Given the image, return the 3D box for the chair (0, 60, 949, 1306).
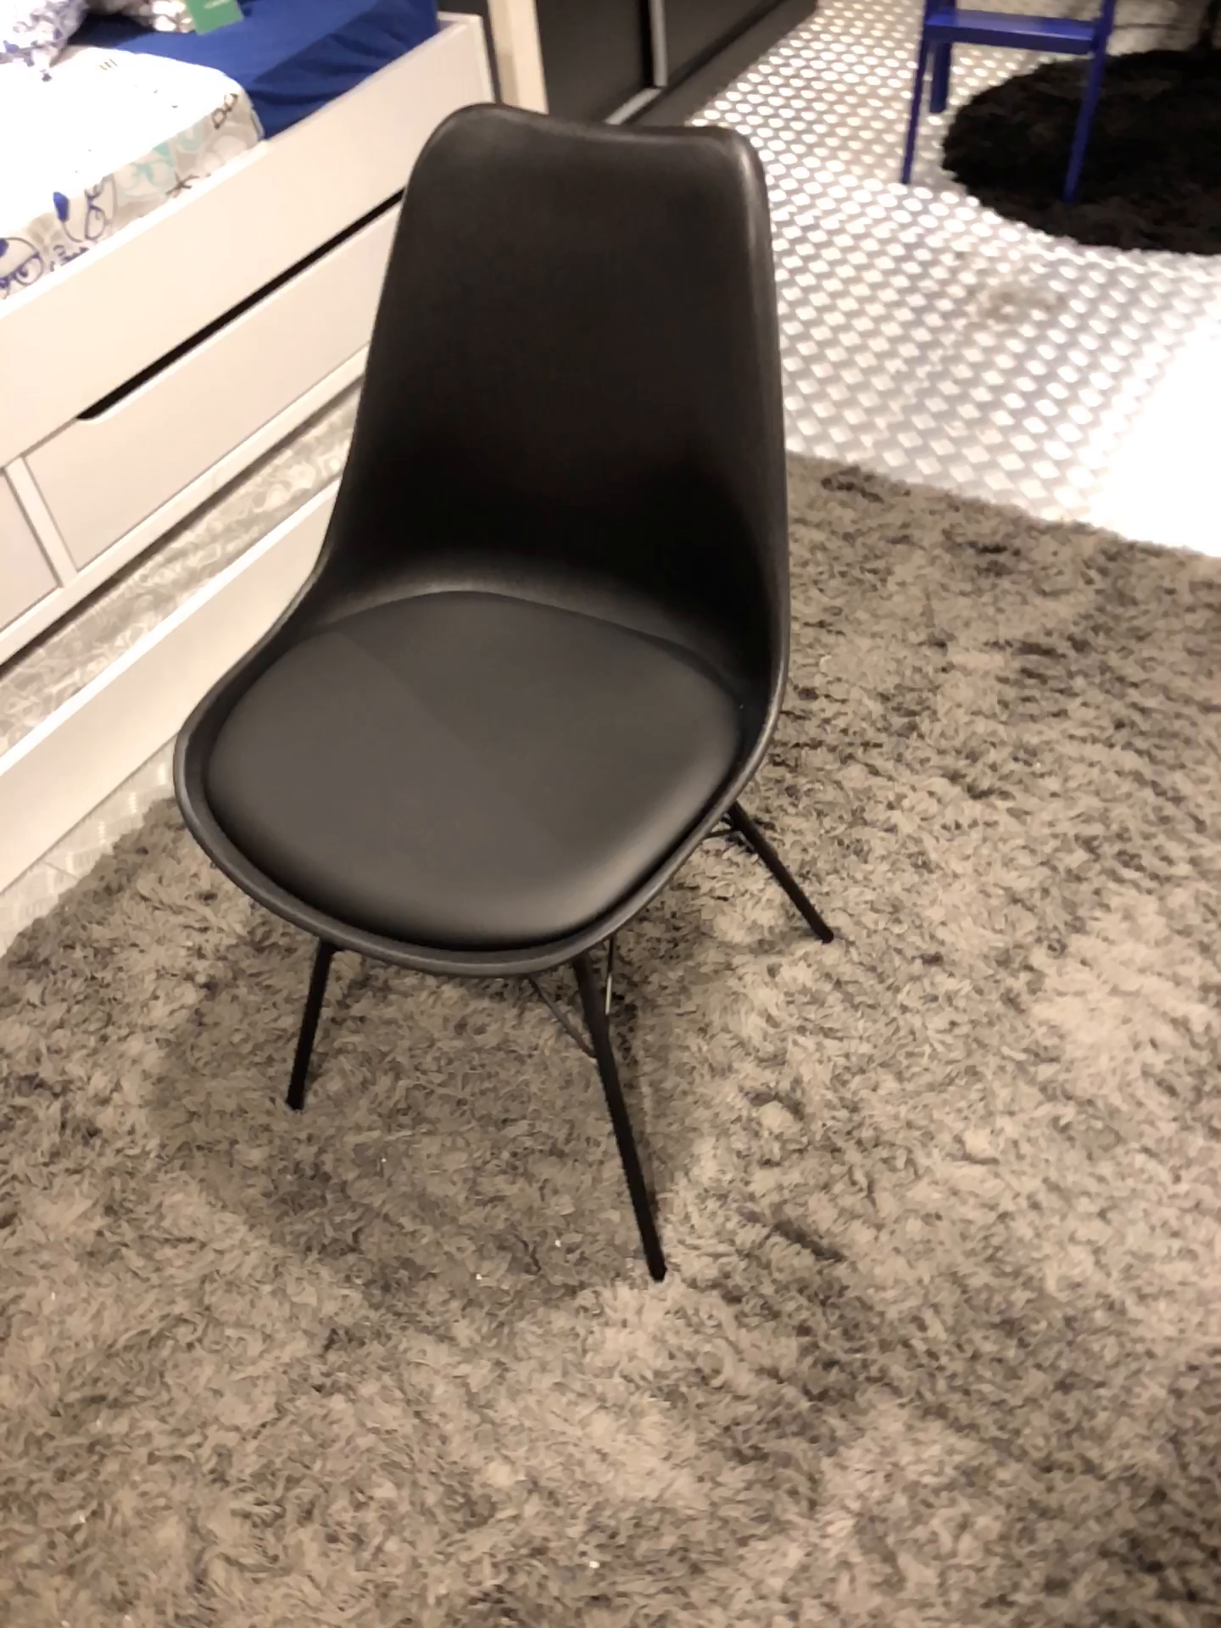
[{"bbox_3d":[-0.091,-0.095,1.160,0.521,0.805,0.532,20,53,24],"label":"chair"}]
